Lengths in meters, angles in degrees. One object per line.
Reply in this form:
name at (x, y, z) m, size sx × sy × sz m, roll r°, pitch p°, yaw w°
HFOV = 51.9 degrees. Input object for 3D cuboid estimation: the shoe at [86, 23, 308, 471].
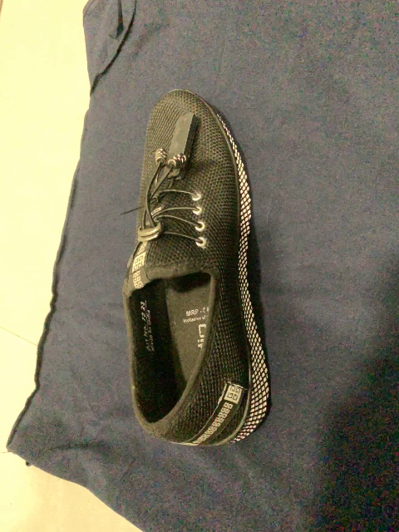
shoe at (-0.008, -0.012, 0.319) m, size 0.100 × 0.090 × 0.290 m, roll -16°, pitch 76°, yaw 34°
